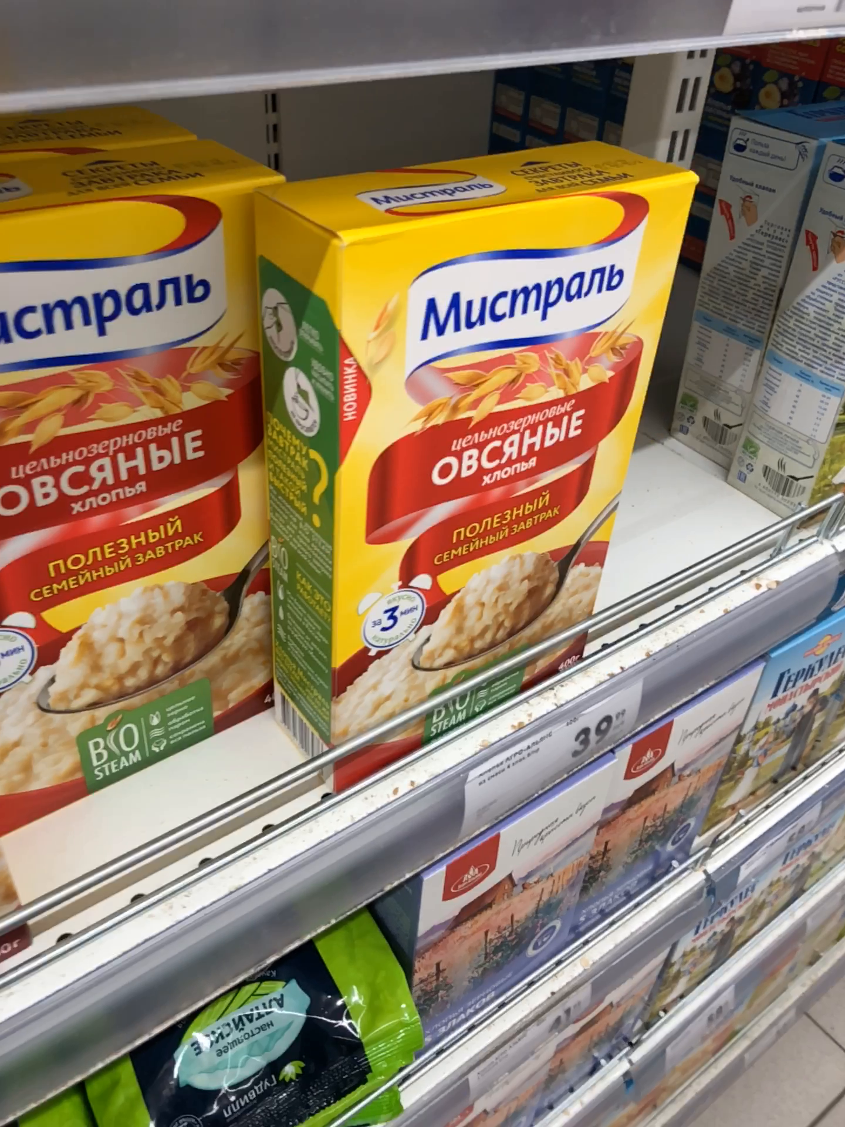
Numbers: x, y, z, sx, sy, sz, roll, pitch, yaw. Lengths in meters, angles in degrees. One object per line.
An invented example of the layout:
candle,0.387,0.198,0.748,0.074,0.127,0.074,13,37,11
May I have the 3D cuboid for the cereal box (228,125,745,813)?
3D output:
cereal box,0.019,-0.030,0.331,0.150,0.209,0.050,-22,44,-30
